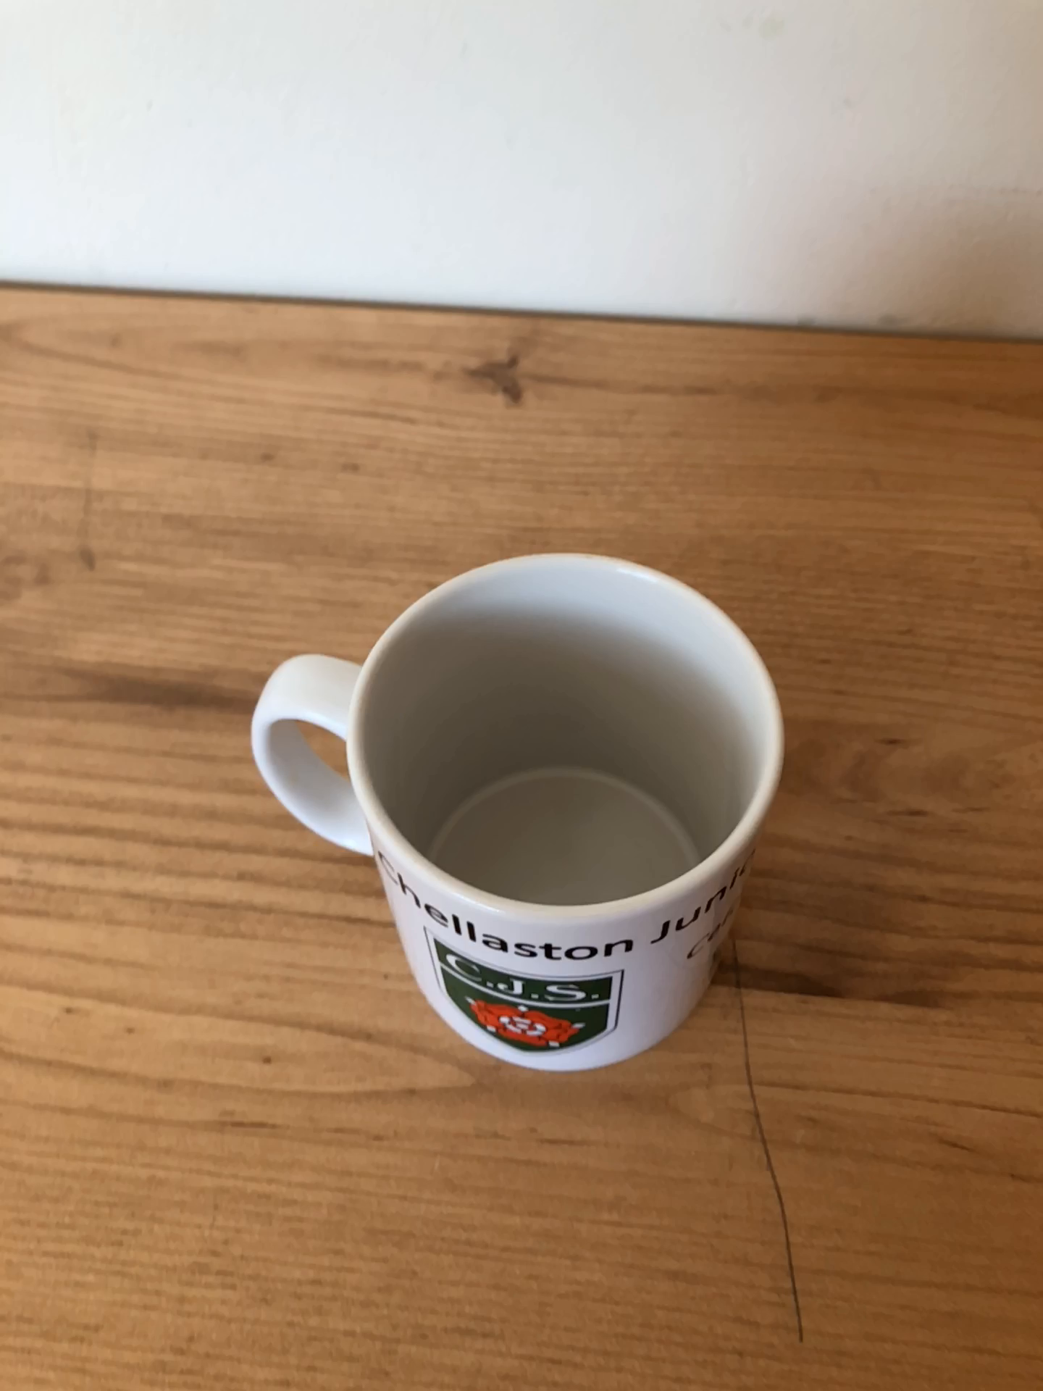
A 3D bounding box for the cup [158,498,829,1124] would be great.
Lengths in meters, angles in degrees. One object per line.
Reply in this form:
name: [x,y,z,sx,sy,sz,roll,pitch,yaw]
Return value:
cup: [0.002,0.026,0.260,0.110,0.096,0.084,9,55,12]
